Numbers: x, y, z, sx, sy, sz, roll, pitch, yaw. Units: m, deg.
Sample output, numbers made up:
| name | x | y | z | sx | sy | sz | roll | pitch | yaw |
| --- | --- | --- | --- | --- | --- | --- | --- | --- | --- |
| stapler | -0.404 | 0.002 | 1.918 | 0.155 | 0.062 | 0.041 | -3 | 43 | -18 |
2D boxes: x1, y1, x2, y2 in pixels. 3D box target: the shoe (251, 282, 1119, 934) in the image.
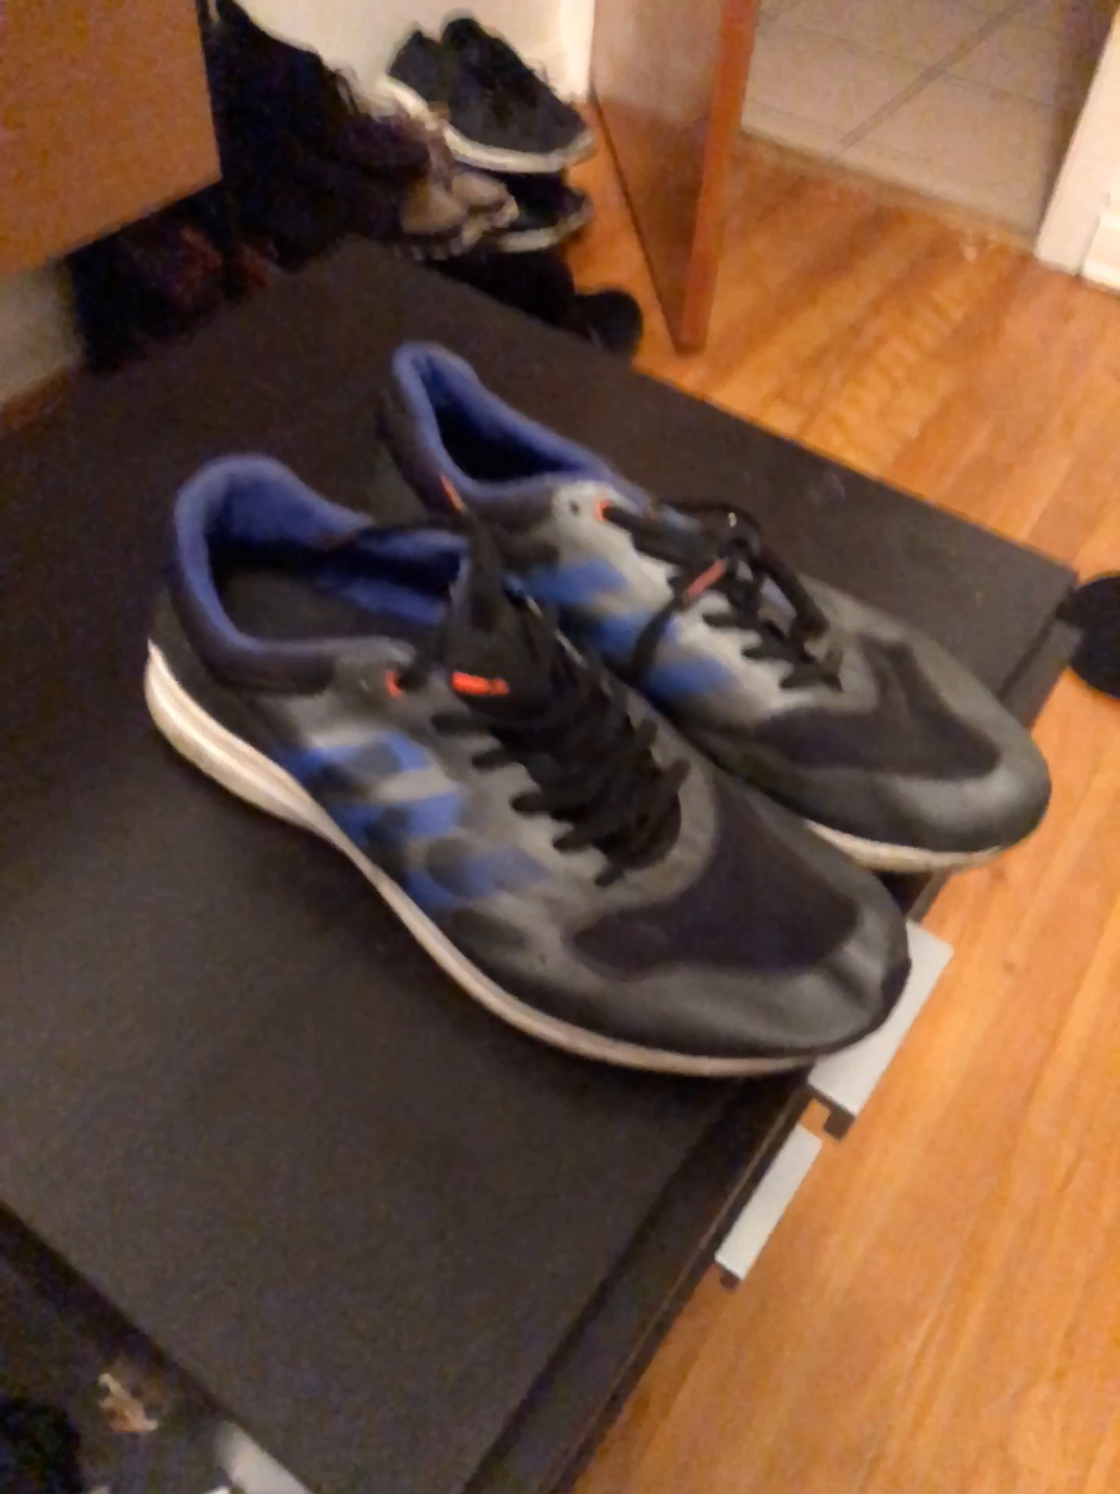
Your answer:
| name | x | y | z | sx | sy | sz | roll | pitch | yaw |
| --- | --- | --- | --- | --- | --- | --- | --- | --- | --- |
| shoe | 0.039 | -0.066 | 0.450 | 0.301 | 0.070 | 0.111 | 30 | 53 | 20 |

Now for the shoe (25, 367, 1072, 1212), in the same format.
| name | x | y | z | sx | sy | sz | roll | pitch | yaw |
| --- | --- | --- | --- | --- | --- | --- | --- | --- | --- |
| shoe | -0.012 | -0.004 | 0.359 | 0.271 | 0.079 | 0.111 | 30 | 53 | 20 |
